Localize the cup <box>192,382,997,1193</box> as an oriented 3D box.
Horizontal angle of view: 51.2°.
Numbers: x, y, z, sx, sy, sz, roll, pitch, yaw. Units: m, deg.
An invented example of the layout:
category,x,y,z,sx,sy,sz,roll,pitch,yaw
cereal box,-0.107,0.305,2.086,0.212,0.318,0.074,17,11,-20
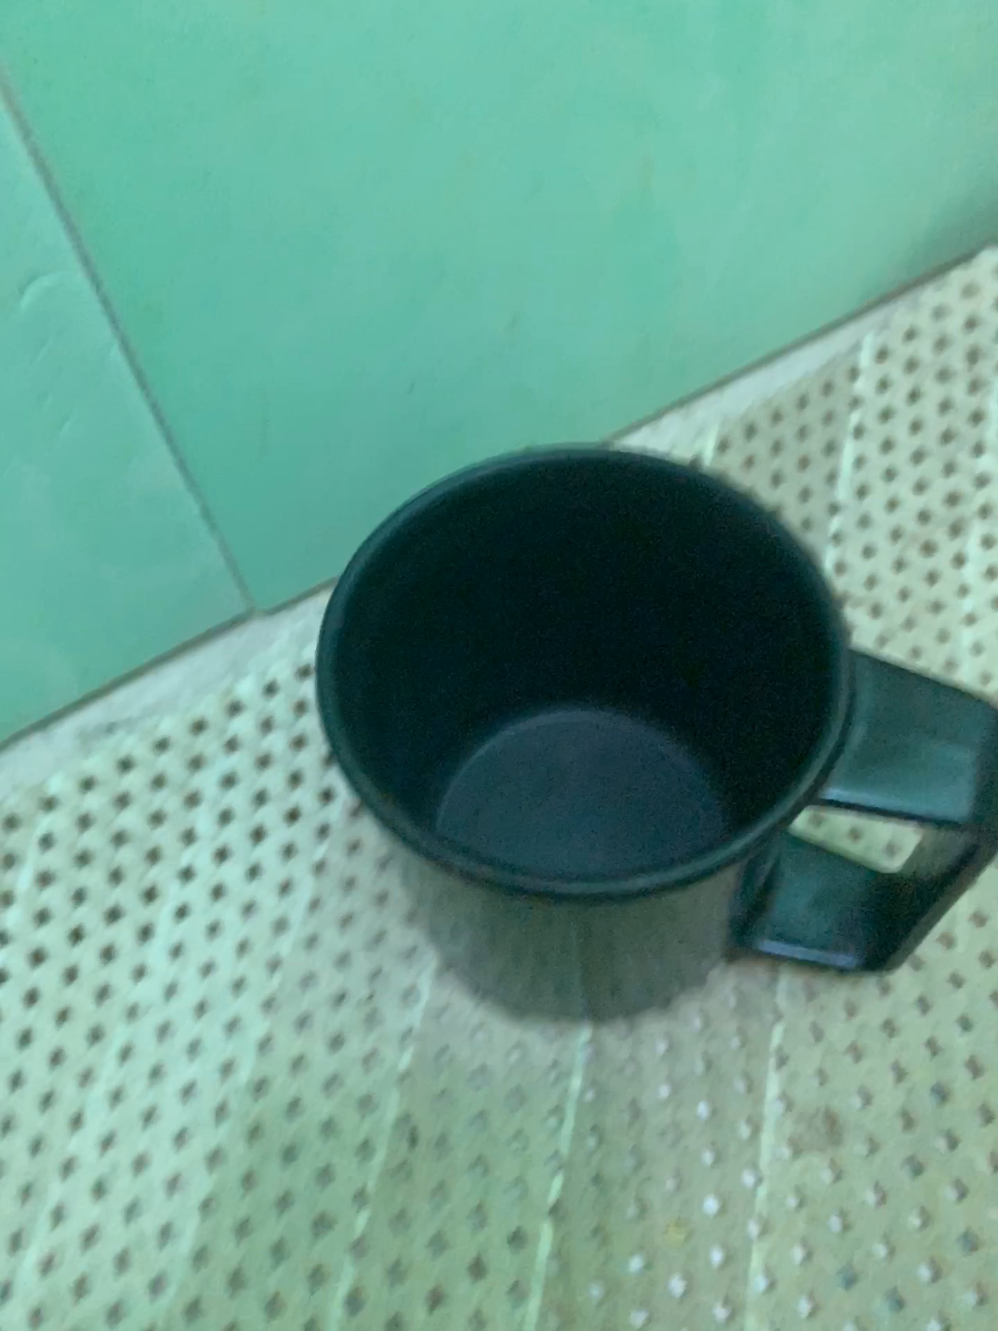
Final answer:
category,x,y,z,sx,sy,sz,roll,pitch,yaw
cup,0.028,0.021,0.186,0.111,0.082,0.090,15,60,15
